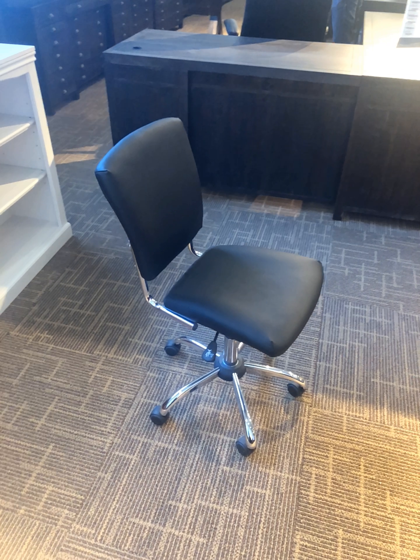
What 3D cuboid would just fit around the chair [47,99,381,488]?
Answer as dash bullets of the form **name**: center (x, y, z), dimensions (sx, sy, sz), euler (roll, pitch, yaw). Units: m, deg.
- **chair**: center (0.039, 0.021, 1.356), dimensions (0.607, 0.826, 0.576), euler (18, 42, 20)
